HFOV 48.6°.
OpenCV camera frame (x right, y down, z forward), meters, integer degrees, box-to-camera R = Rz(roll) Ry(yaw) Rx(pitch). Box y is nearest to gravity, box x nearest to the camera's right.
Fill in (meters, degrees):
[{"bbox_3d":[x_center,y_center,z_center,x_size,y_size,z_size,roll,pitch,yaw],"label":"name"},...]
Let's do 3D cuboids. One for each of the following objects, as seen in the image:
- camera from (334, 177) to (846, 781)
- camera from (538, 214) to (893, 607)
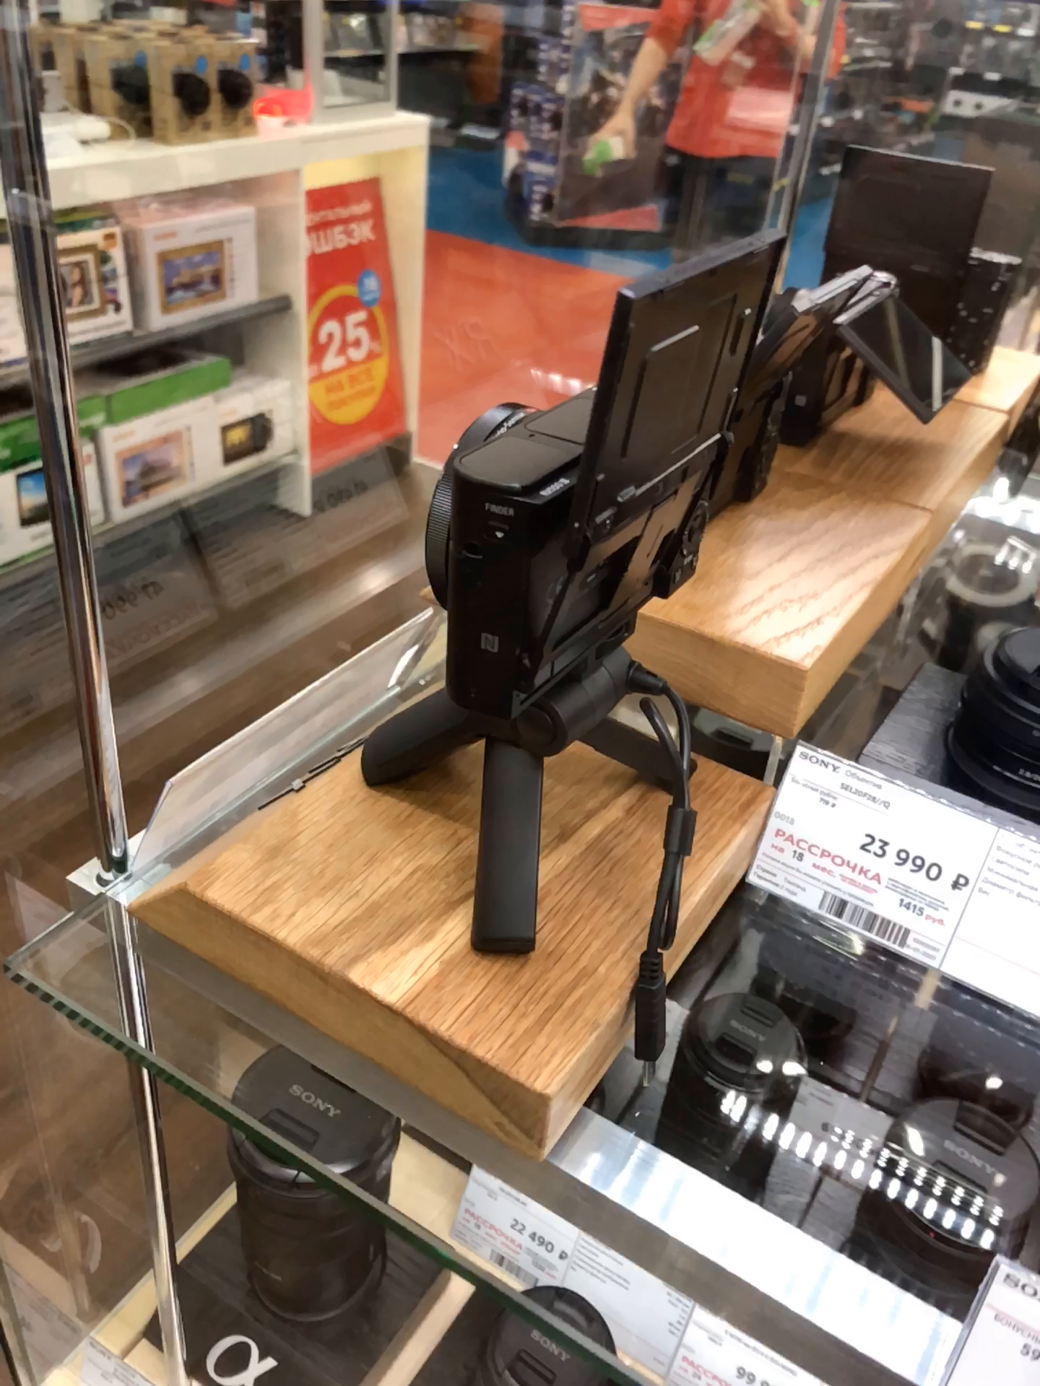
[{"bbox_3d":[0.016,-0.056,0.268,0.062,0.097,0.109,23,37,24],"label":"camera"},{"bbox_3d":[0.069,-0.105,0.408,0.069,0.097,0.109,23,37,24],"label":"camera"}]
